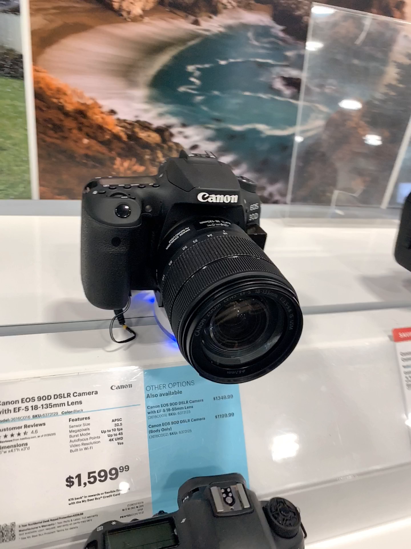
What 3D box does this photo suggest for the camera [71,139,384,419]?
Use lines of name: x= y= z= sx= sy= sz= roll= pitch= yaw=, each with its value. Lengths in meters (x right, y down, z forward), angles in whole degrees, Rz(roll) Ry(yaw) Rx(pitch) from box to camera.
camera: x=-0.010 y=-0.015 z=0.290 sx=0.148 sy=0.104 sz=0.171 roll=-3 pitch=30 yaw=-18
